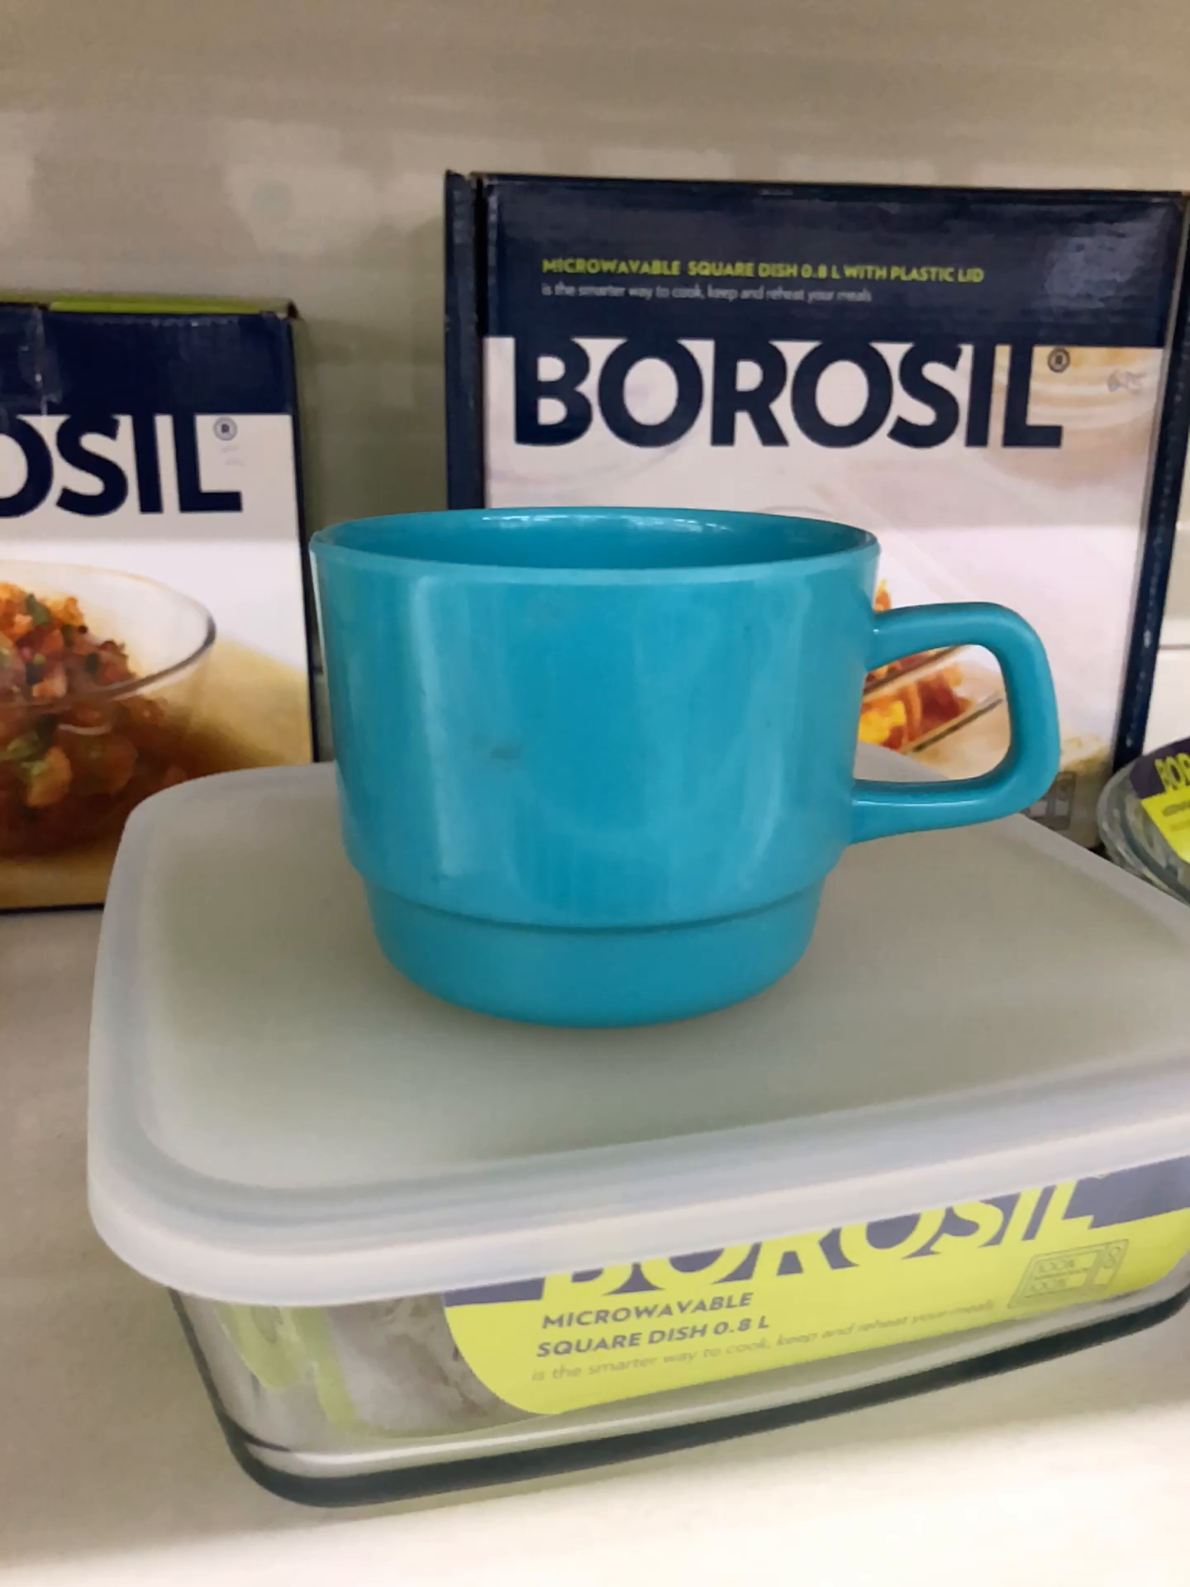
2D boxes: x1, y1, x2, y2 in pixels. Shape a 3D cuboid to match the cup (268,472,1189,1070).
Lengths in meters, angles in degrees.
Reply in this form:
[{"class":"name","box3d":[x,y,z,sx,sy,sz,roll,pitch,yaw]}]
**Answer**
[{"class":"cup","box3d":[0.018,-0.012,0.211,0.120,0.070,0.090,-1,17,-5]}]
